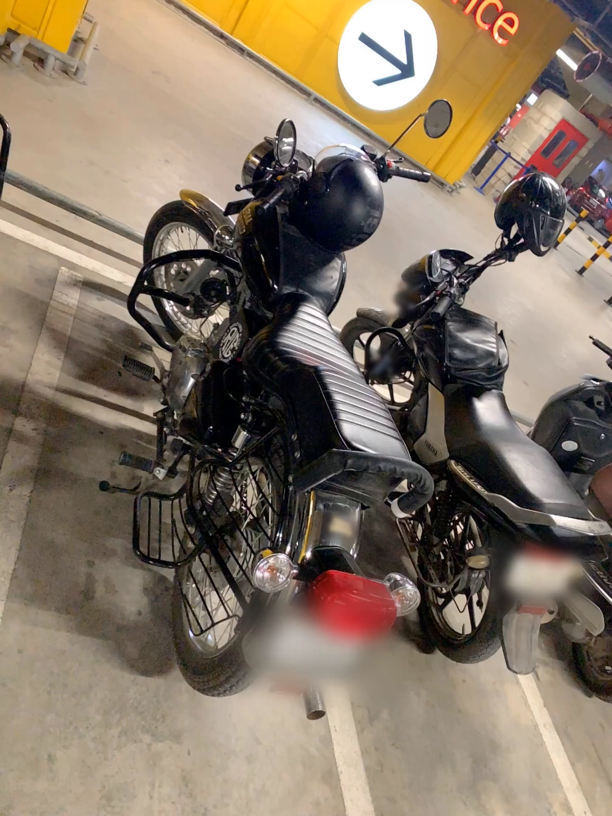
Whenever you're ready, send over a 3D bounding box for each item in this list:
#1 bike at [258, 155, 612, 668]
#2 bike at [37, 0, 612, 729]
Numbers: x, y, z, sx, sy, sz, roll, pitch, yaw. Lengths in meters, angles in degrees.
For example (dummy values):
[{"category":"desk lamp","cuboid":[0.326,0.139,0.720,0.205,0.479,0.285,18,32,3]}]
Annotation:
[{"category":"bike","cuboid":[0.455,-0.093,2.337,0.599,0.924,1.723,19,33,-30]},{"category":"bike","cuboid":[-0.205,-0.295,1.797,0.765,1.050,1.829,16,36,-34]}]
